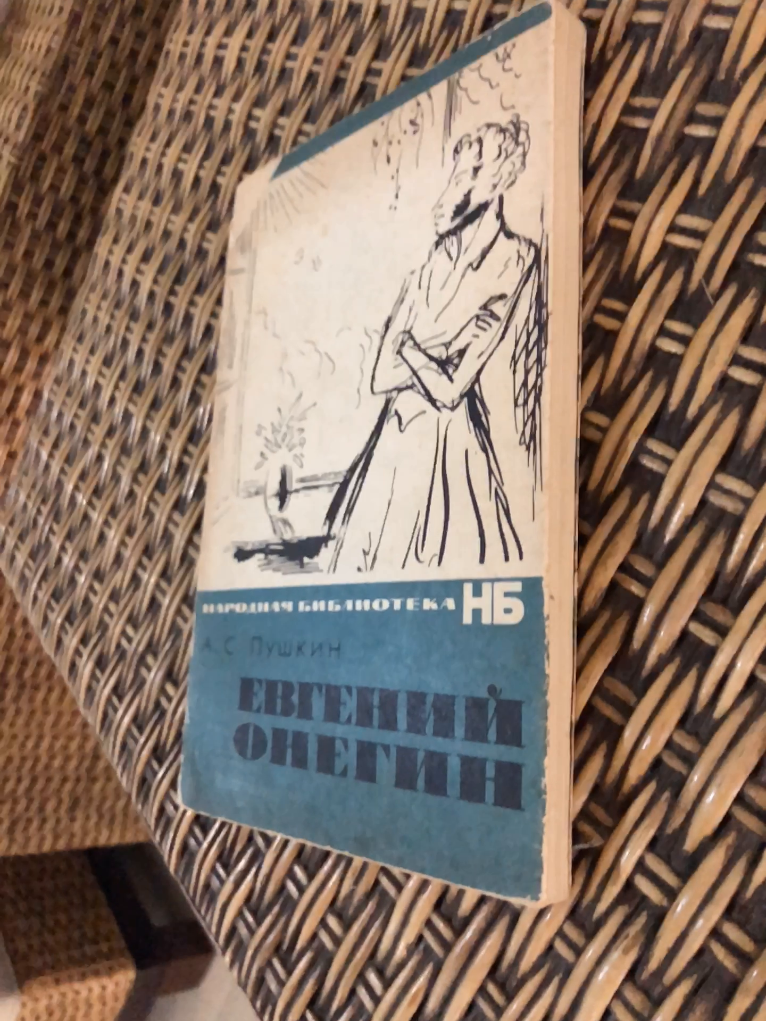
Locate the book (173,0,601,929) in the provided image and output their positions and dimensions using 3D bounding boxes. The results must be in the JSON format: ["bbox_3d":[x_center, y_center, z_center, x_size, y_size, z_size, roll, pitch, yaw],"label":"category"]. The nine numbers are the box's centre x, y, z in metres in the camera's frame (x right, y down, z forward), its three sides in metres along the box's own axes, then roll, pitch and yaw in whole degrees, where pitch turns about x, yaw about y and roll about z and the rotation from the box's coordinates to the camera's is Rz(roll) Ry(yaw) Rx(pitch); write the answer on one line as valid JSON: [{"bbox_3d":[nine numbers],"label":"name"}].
[{"bbox_3d":[-0.004,-0.013,0.218,0.121,0.020,0.190,-7,76,45],"label":"book"}]
